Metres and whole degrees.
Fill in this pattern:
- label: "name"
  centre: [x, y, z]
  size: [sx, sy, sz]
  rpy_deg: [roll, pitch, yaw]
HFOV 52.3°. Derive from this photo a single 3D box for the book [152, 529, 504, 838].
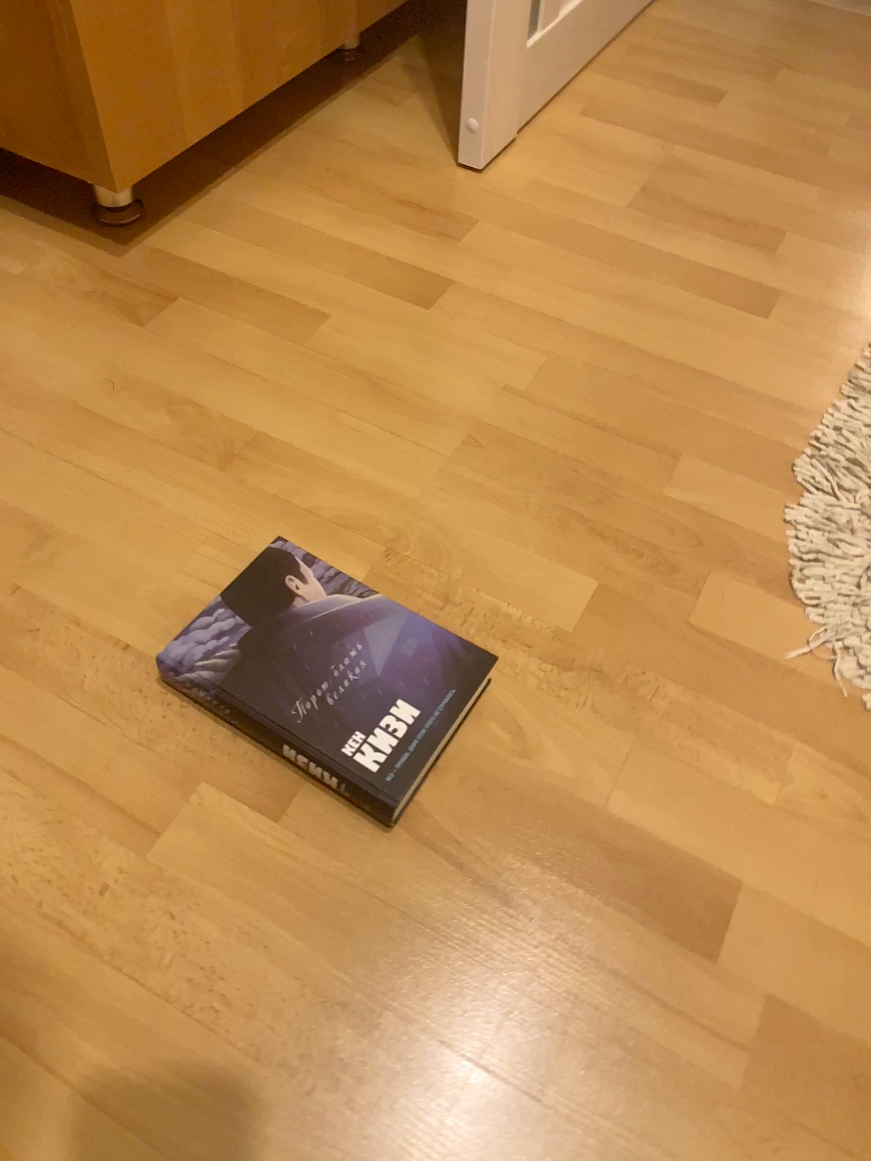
- label: "book"
  centre: [-0.082, 0.072, 0.699]
  size: [0.224, 0.050, 0.151]
  rpy_deg: [28, 58, 18]
